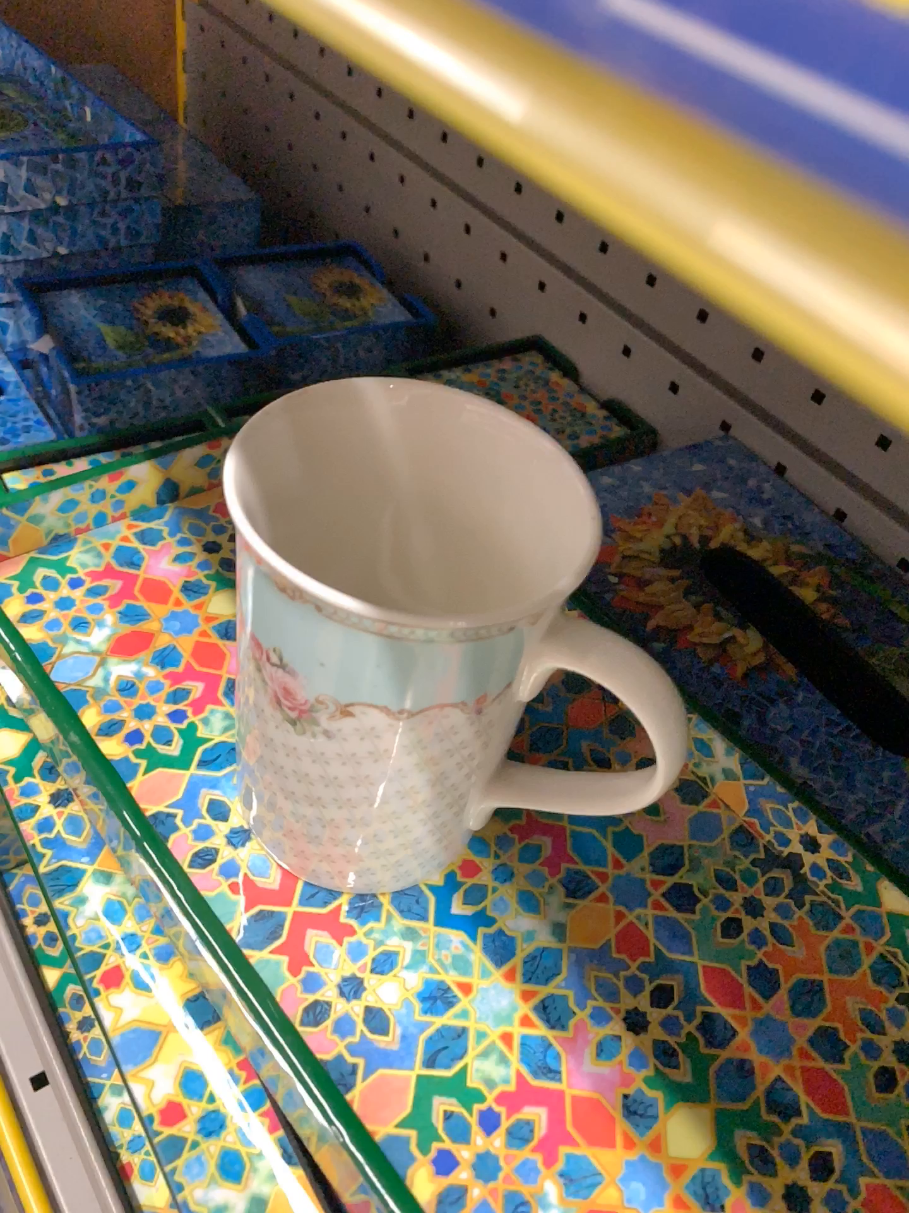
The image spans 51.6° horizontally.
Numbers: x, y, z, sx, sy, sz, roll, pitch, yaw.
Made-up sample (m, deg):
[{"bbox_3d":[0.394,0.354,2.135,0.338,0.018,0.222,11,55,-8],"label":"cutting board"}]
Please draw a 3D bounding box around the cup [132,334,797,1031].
[{"bbox_3d":[-0.001,0.016,0.220,0.110,0.100,0.080,25,45,11],"label":"cup"}]
